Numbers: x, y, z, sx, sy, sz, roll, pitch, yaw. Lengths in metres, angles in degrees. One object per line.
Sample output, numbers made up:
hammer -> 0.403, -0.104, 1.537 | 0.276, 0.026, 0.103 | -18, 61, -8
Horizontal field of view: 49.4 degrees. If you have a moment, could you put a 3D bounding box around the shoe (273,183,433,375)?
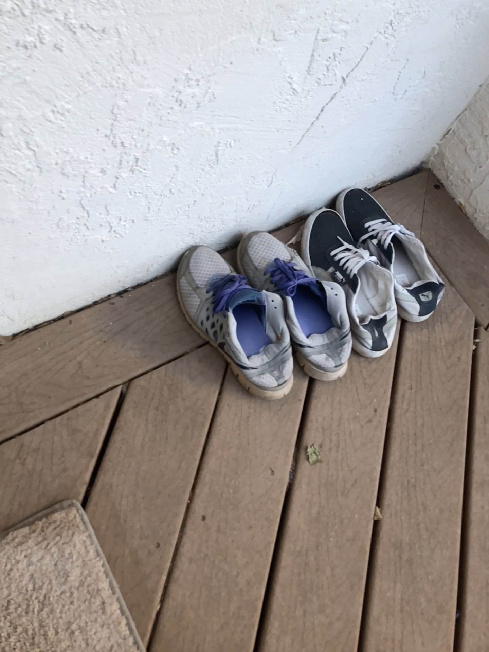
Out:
shoe -> 0.187, -0.089, 0.968 | 0.120, 0.100, 0.320 | -20, 72, -19

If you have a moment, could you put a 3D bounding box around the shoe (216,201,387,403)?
shoe -> 0.088, -0.044, 0.920 | 0.120, 0.100, 0.320 | -26, 74, -21

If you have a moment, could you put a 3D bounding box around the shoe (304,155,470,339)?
shoe -> 0.263, -0.155, 1.022 | 0.120, 0.100, 0.330 | -25, 74, -21

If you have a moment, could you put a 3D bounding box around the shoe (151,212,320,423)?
shoe -> -0.026, -0.018, 0.886 | 0.120, 0.100, 0.320 | -26, 74, -21
